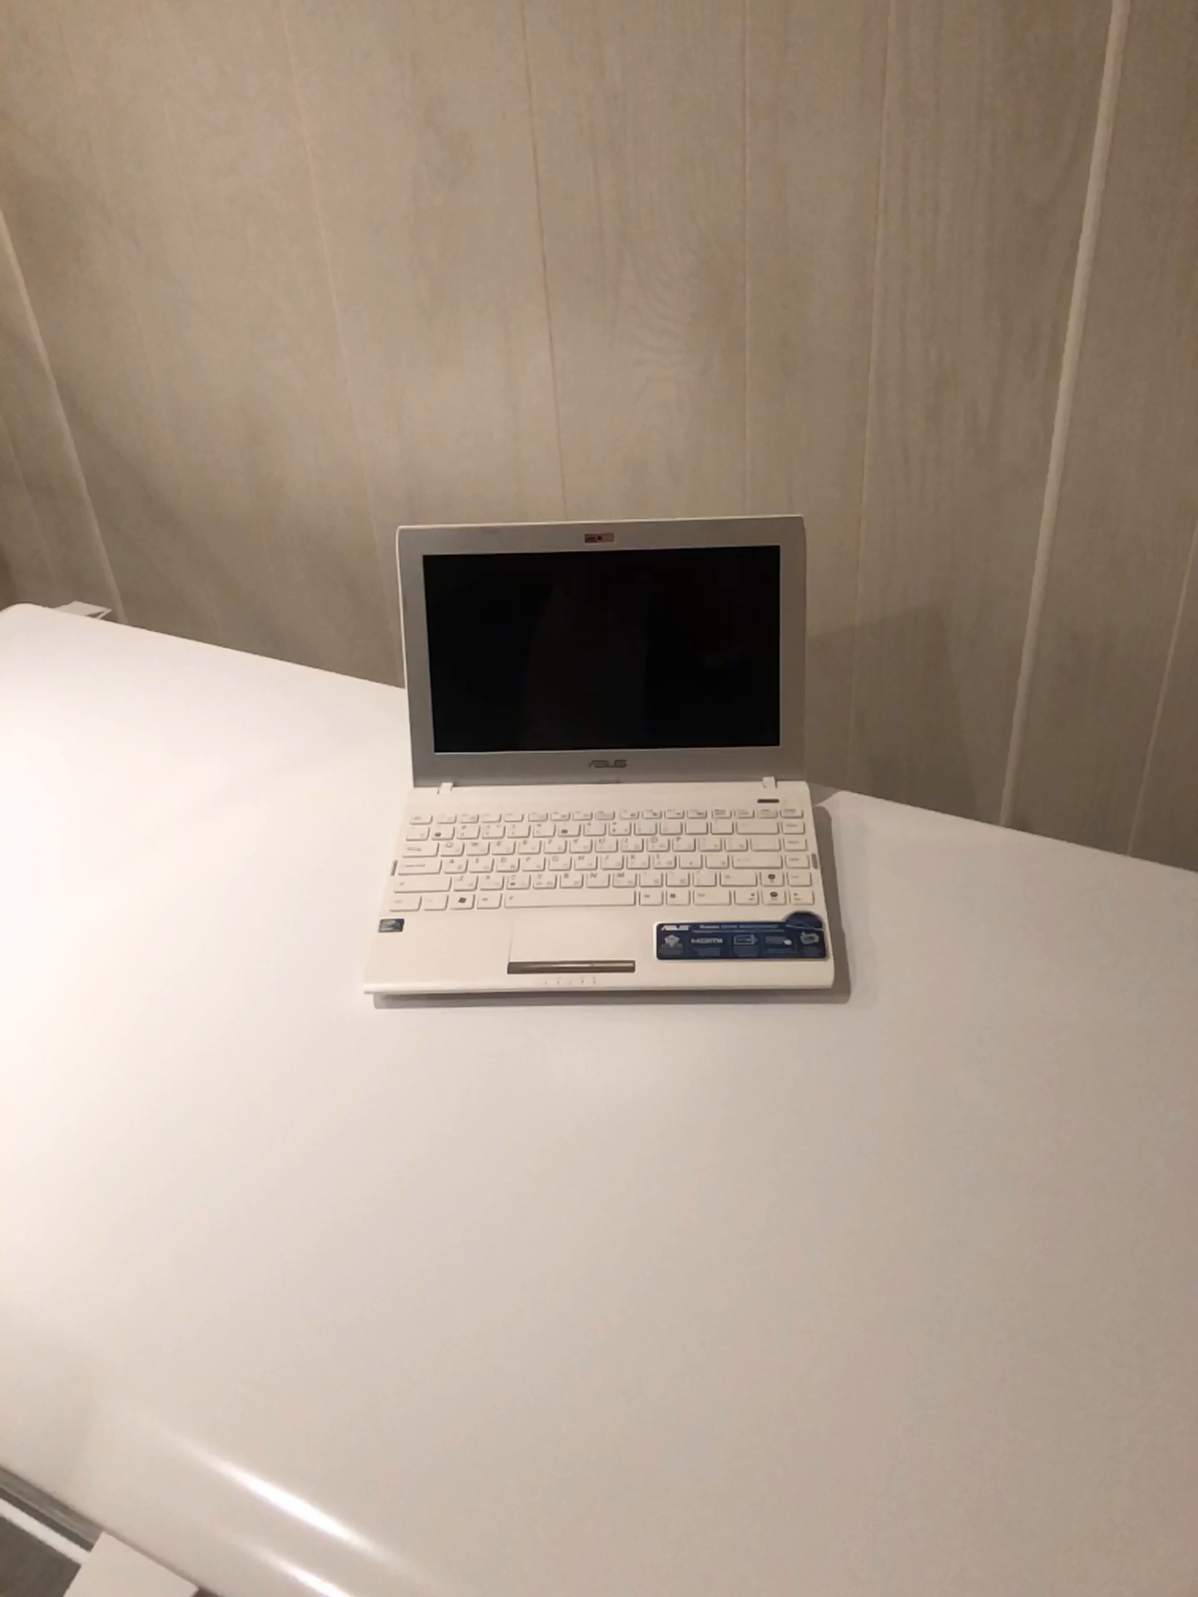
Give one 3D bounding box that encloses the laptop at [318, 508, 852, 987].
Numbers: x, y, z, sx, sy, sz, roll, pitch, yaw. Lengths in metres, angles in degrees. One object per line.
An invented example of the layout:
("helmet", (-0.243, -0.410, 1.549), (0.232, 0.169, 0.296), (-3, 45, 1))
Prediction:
("laptop", (0.000, -0.044, 0.870), (0.287, 0.168, 0.294), (-1, 37, 4))
